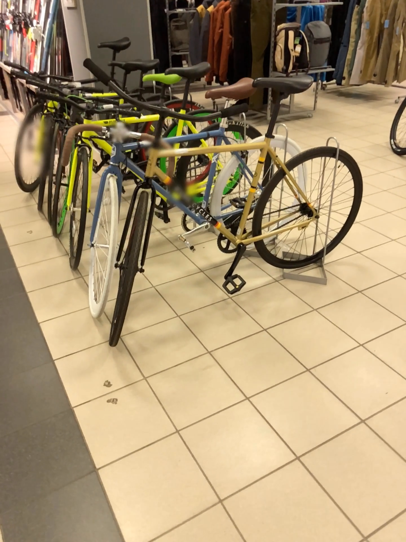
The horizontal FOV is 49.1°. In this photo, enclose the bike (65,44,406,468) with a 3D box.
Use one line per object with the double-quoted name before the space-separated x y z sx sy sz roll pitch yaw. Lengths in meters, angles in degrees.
"bike" 0.240 -0.222 1.980 1.467 1.091 0.674 -28 39 -29
